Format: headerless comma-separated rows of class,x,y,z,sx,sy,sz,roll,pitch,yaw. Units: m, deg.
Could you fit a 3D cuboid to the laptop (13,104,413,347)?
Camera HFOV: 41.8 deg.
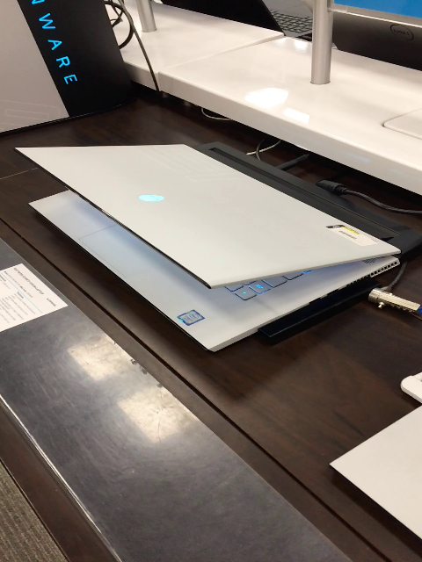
laptop,-0.017,-0.086,0.606,0.230,0.086,0.335,-28,45,-25
